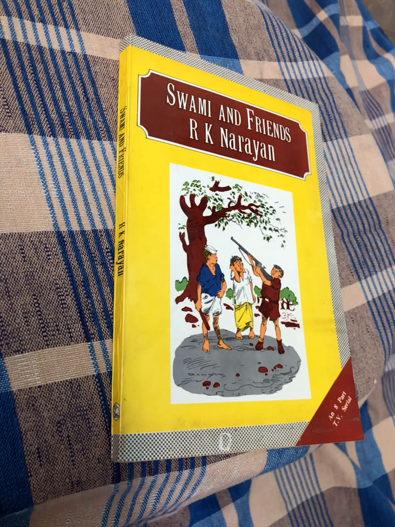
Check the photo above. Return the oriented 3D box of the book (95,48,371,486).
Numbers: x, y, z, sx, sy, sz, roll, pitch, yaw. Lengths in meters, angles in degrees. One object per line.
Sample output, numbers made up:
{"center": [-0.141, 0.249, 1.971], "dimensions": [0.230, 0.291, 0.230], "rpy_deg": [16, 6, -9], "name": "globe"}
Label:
{"center": [0.020, -0.002, 0.222], "dimensions": [0.130, 0.020, 0.190], "rpy_deg": [8, 70, -27], "name": "book"}
